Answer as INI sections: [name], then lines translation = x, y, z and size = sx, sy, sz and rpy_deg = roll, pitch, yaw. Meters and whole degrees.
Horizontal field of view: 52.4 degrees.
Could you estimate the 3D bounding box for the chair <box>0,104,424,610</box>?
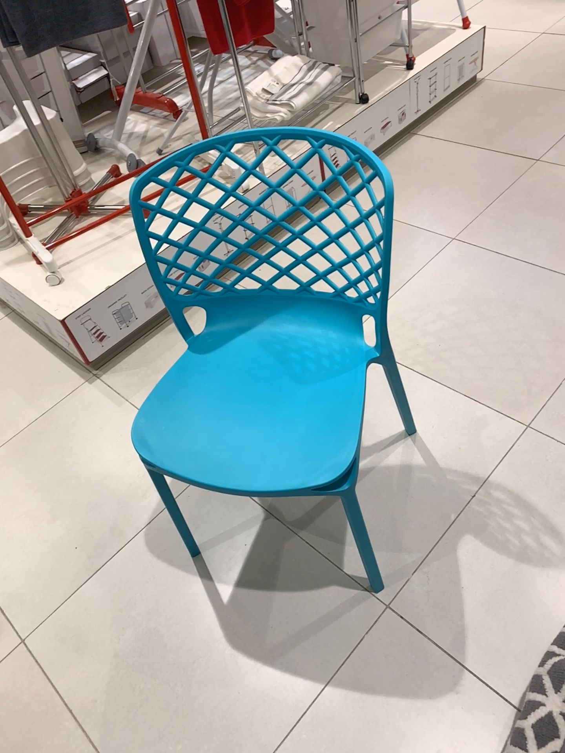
[chair]
translation = -0.034, -0.002, 1.138
size = 0.561, 0.797, 0.521
rpy_deg = 4, 49, 18
